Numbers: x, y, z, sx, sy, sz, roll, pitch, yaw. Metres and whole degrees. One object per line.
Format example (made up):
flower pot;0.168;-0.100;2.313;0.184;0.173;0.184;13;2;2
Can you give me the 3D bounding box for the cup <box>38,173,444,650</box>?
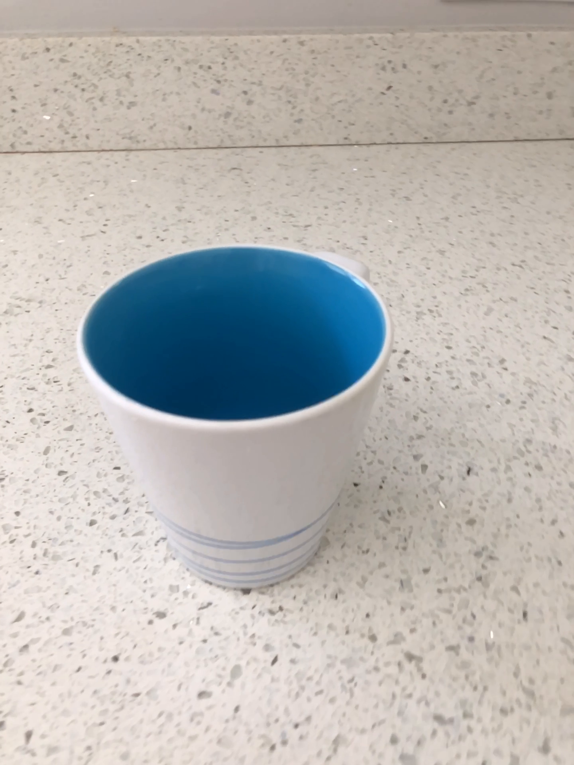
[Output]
cup;-0.003;0.001;0.216;0.080;0.090;0.120;12;42;14
